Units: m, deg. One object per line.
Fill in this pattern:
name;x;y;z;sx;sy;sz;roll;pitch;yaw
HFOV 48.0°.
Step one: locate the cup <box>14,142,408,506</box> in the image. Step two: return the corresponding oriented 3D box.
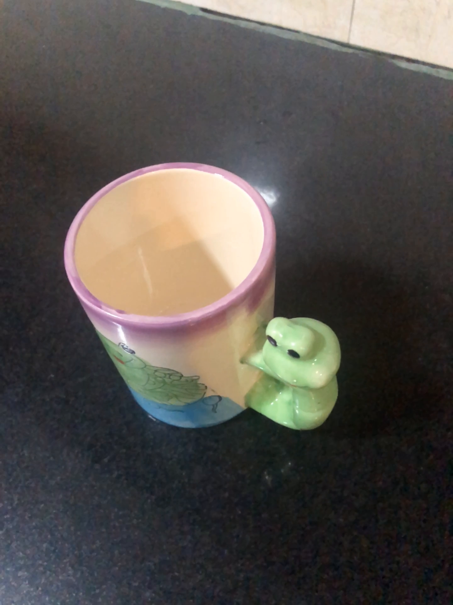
cup;0.000;0.013;0.215;0.110;0.109;0.080;17;58;15
